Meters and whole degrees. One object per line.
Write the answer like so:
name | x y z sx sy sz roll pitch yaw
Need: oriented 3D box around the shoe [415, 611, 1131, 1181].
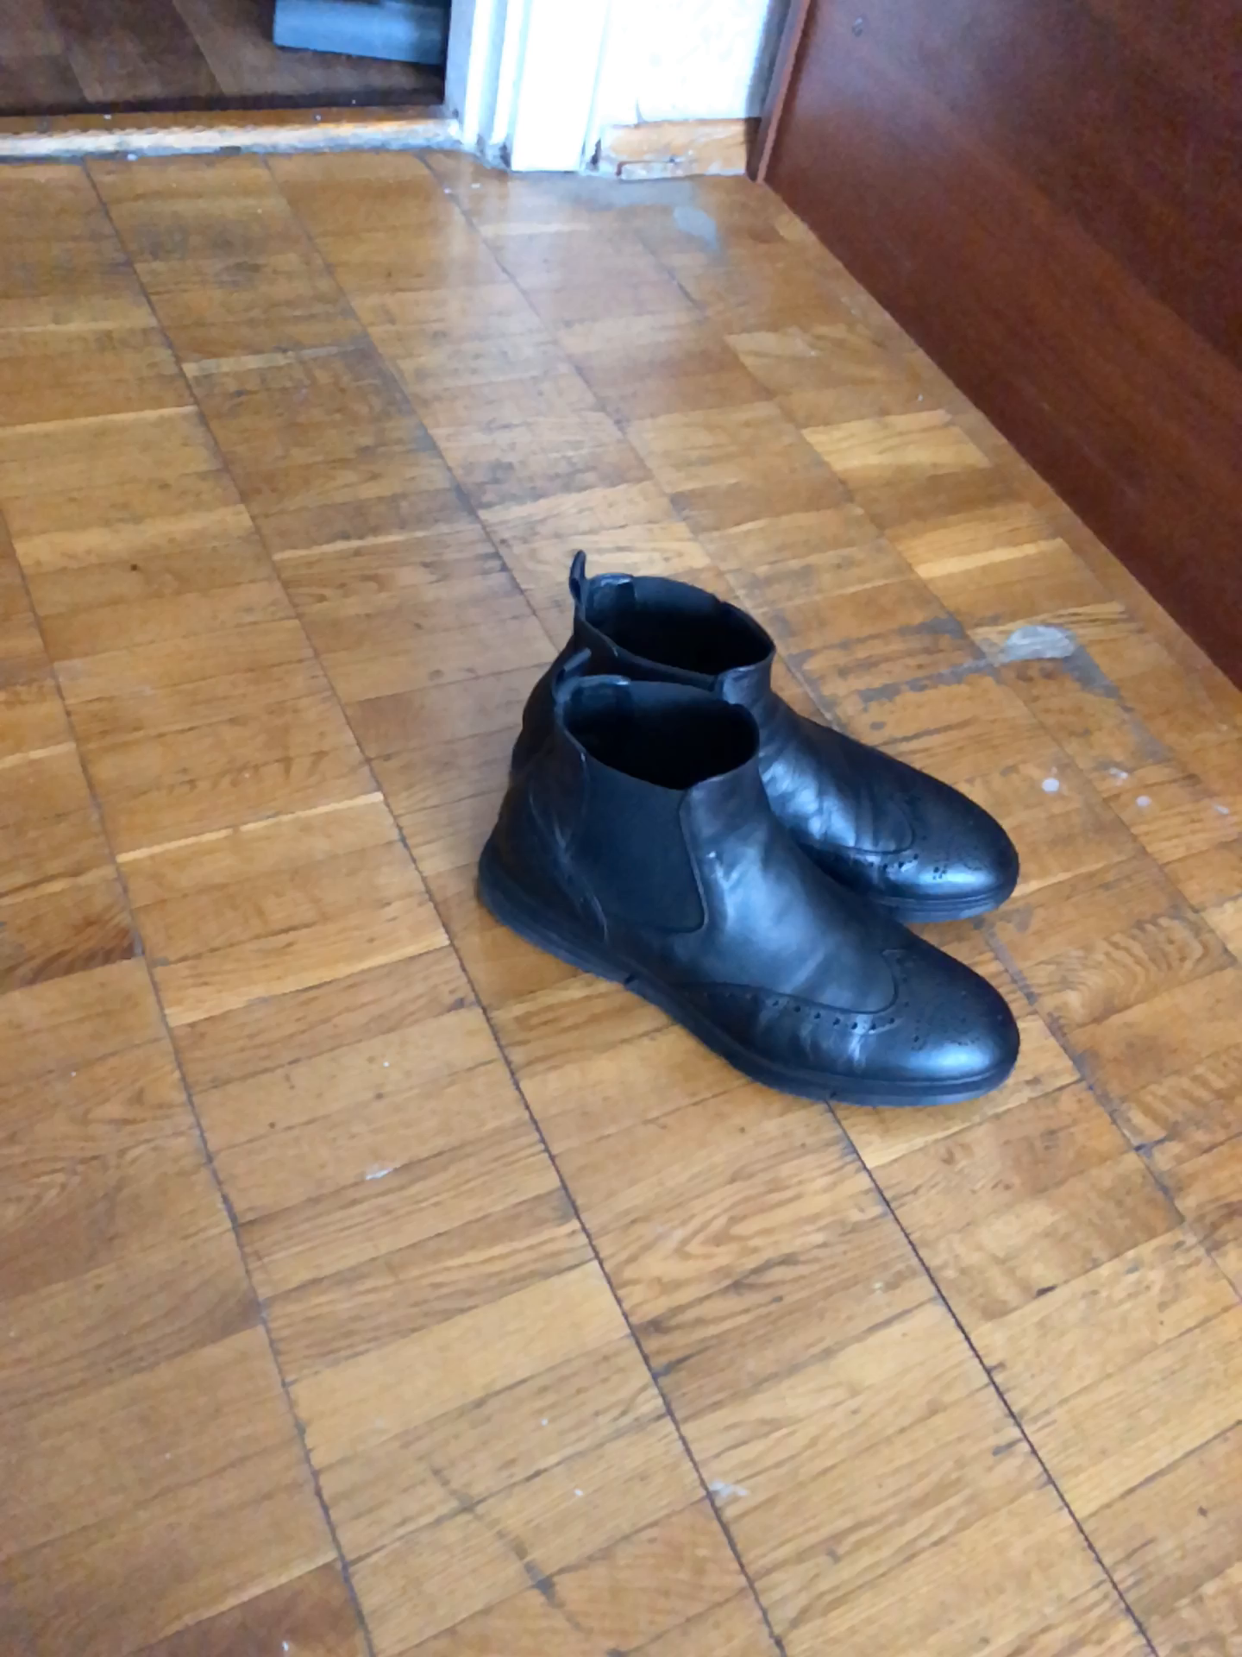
shoe | 0.065 0.034 0.658 0.300 0.139 0.111 23 50 5

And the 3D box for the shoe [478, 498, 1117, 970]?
shoe | 0.090 -0.048 0.731 0.300 0.139 0.111 16 50 0
